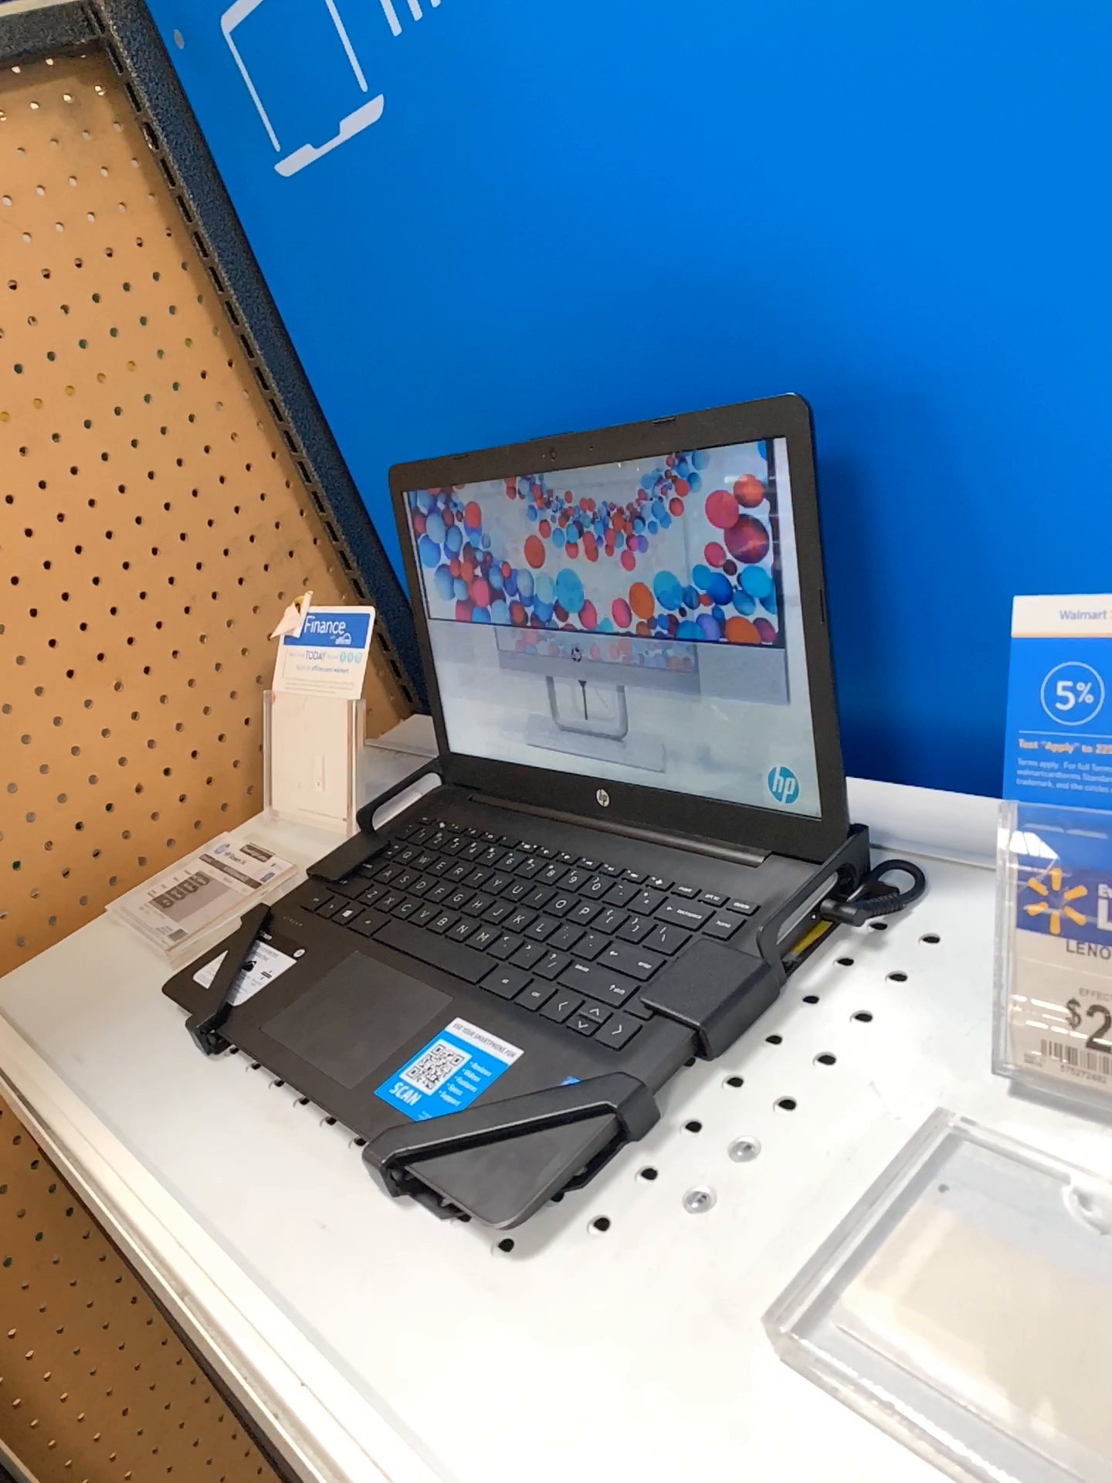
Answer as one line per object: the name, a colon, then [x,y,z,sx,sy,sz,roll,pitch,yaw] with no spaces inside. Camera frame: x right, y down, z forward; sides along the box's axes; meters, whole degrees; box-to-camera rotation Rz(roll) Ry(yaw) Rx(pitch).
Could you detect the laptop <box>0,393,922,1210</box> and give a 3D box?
laptop: [-0.056,-0.003,0.565,0.269,0.203,0.327,-36,26,-30]
